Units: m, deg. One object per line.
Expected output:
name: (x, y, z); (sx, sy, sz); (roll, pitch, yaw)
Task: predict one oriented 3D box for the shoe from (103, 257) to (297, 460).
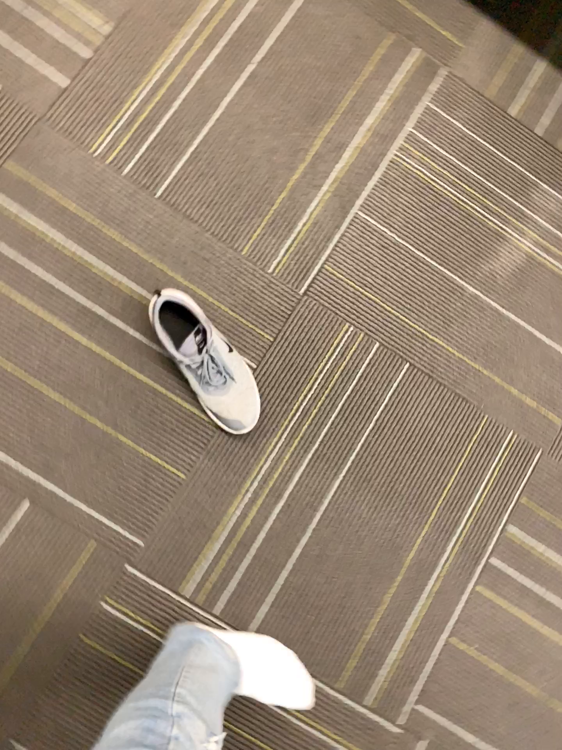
shoe: (-0.147, -0.025, 1.045); (0.160, 0.110, 0.330); (-41, 92, -11)
